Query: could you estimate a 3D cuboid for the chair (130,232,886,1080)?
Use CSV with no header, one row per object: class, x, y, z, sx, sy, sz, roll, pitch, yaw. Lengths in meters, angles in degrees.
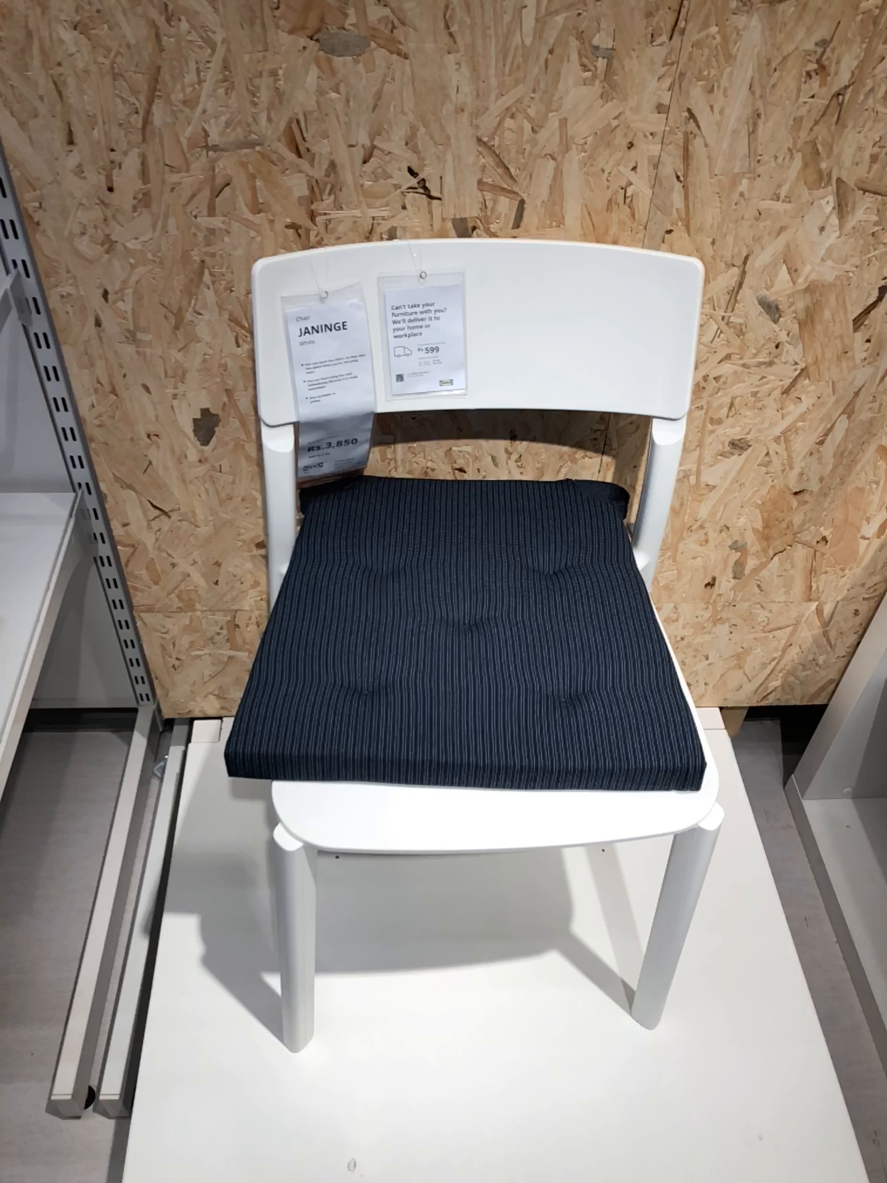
chair,0.049,0.092,0.937,0.490,0.685,0.463,-1,46,-4
